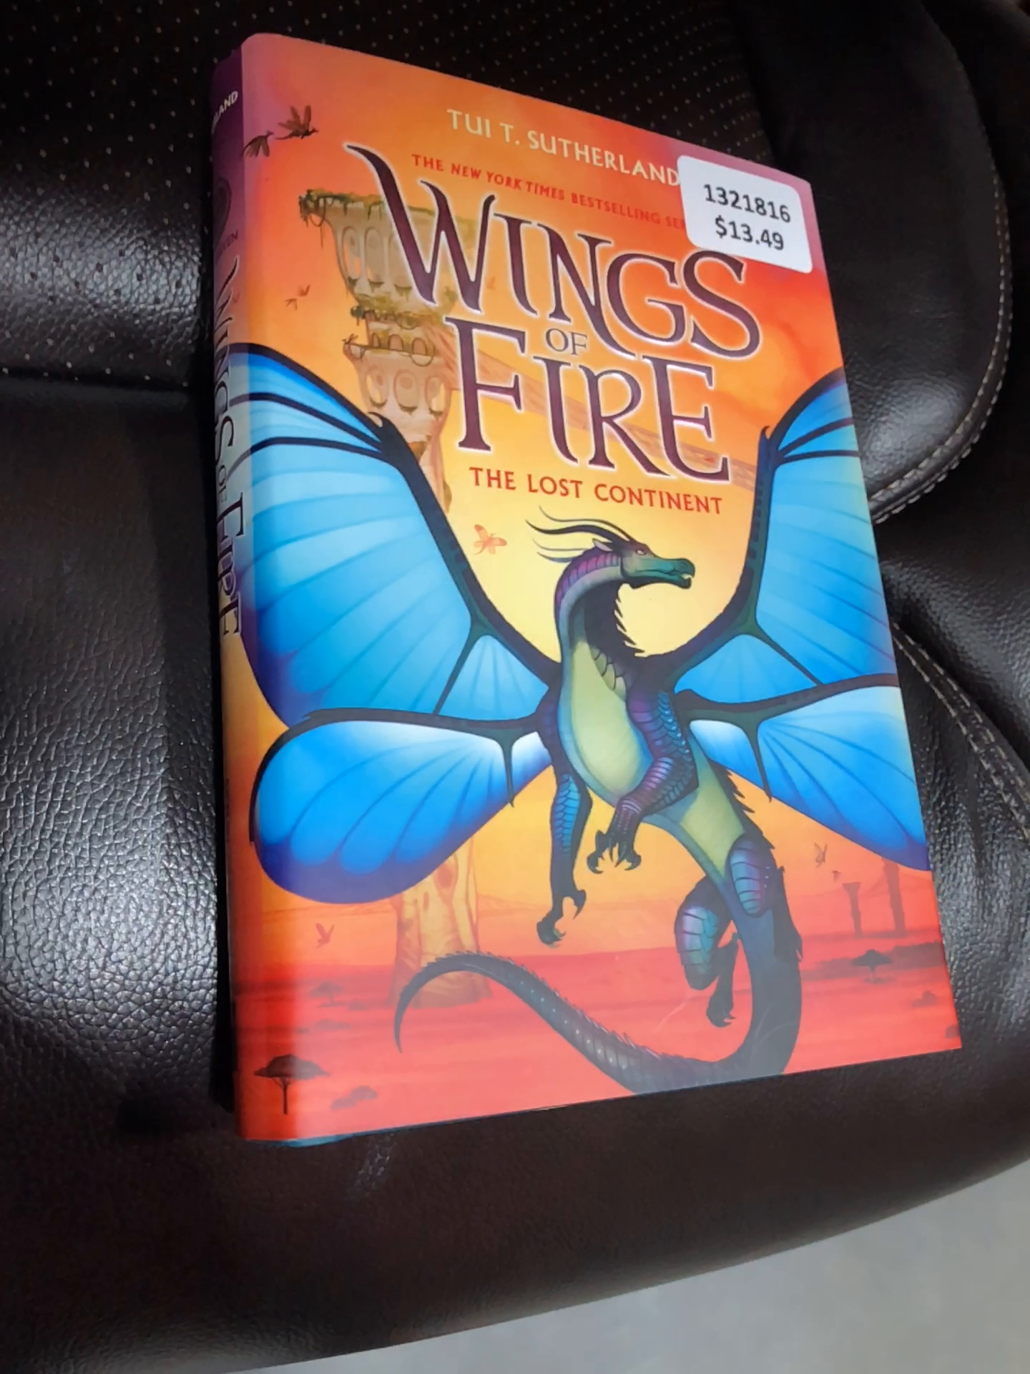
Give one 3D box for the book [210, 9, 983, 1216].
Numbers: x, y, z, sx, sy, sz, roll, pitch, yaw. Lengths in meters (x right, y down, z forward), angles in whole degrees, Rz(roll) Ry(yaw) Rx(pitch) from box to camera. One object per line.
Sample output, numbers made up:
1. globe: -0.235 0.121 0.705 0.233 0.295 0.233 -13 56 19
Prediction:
1. book: 0.015 -0.019 0.242 0.148 0.030 0.218 3 74 -25
